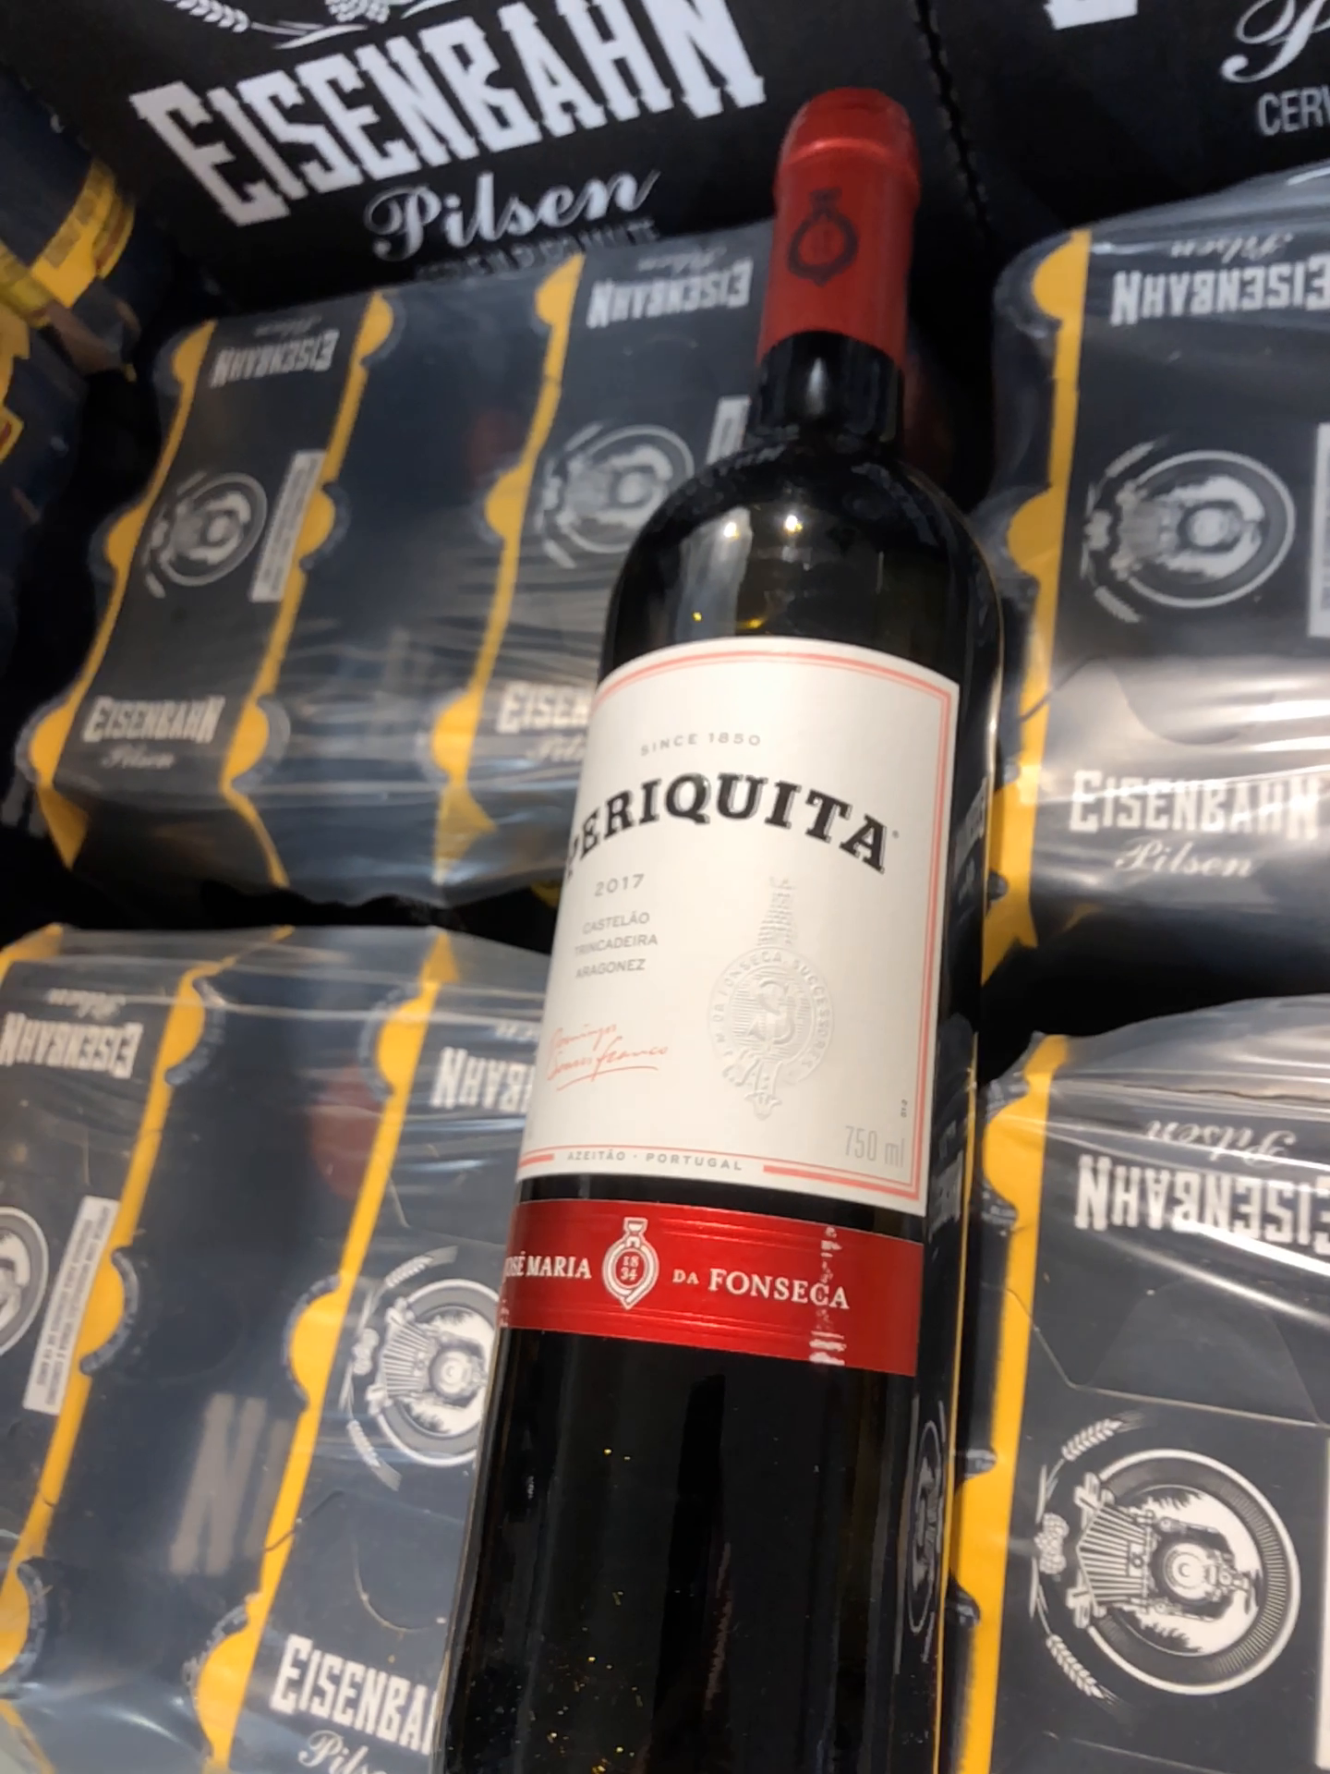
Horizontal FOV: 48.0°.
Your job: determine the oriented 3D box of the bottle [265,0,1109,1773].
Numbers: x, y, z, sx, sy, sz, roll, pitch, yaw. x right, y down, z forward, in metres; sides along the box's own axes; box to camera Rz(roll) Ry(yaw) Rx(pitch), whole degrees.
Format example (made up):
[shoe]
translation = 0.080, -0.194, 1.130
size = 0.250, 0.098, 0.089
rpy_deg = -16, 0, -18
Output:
[bottle]
translation = 0.023, -0.022, 0.246
size = 0.080, 0.070, 0.331
rpy_deg = -1, 69, 24
